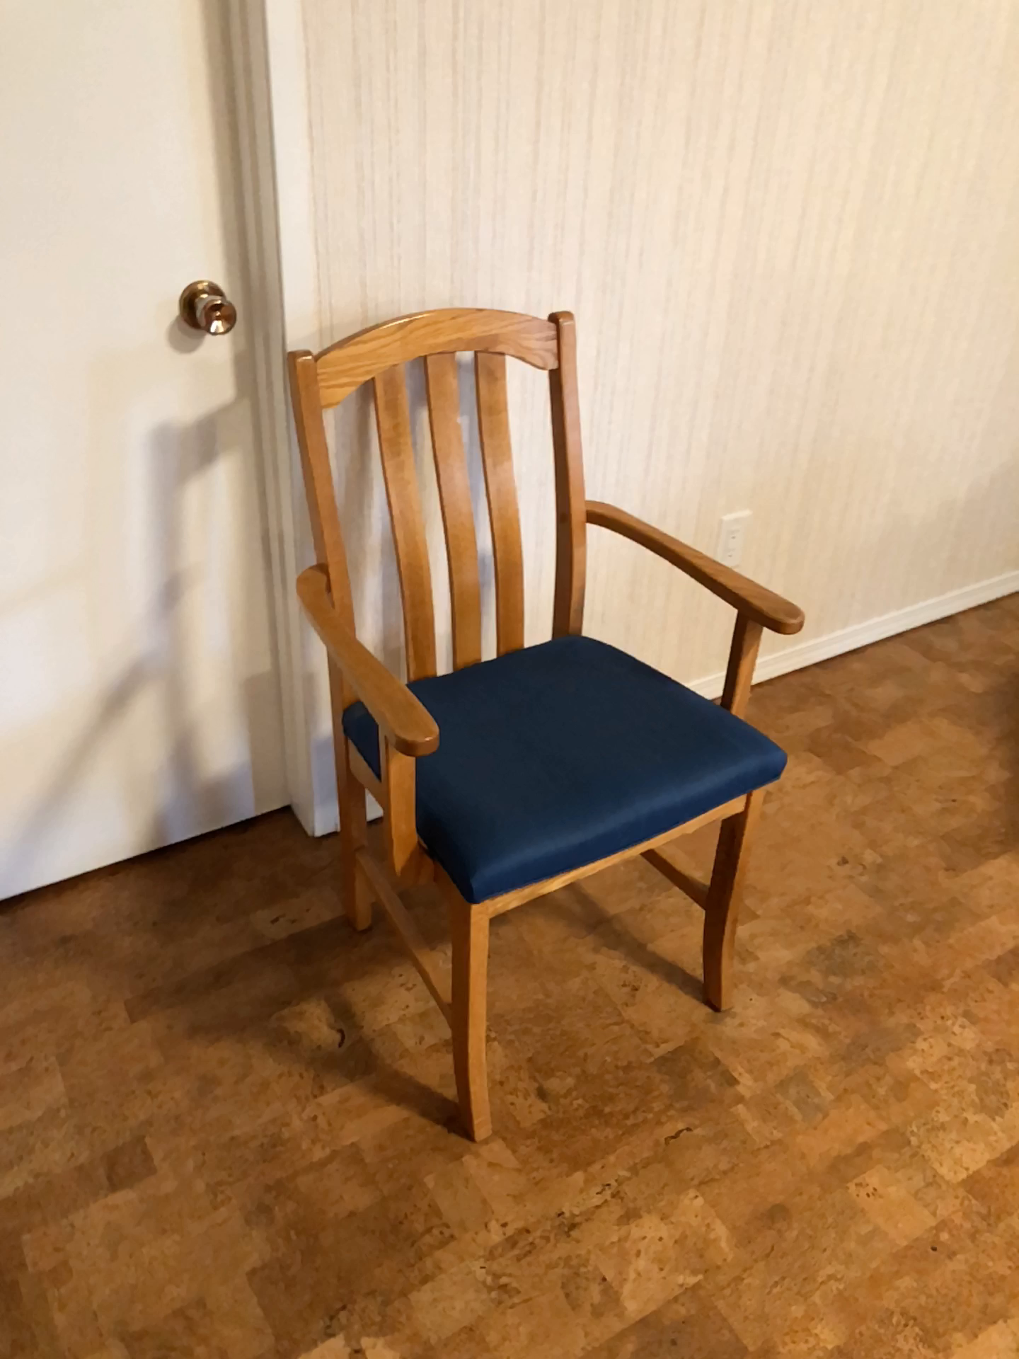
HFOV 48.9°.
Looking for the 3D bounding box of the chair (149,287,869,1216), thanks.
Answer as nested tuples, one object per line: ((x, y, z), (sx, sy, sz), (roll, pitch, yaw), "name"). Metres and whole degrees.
((-0.044, 0.063, 1.482), (0.551, 0.937, 0.591), (-19, 39, -30), "chair")
